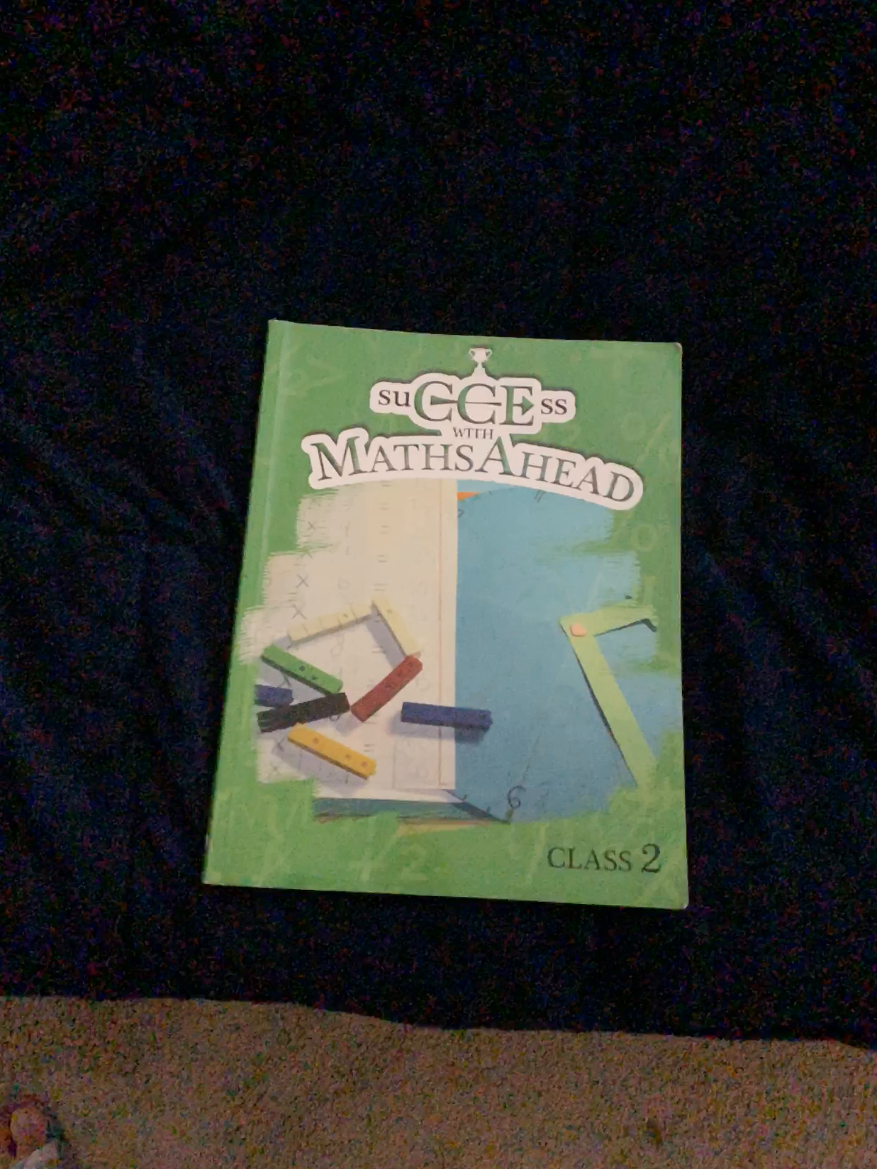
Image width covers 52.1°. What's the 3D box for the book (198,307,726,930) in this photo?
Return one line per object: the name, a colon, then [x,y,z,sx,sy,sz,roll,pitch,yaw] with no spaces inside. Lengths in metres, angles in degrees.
book: [0.019,0.008,0.429,0.230,0.020,0.280,4,78,-1]
